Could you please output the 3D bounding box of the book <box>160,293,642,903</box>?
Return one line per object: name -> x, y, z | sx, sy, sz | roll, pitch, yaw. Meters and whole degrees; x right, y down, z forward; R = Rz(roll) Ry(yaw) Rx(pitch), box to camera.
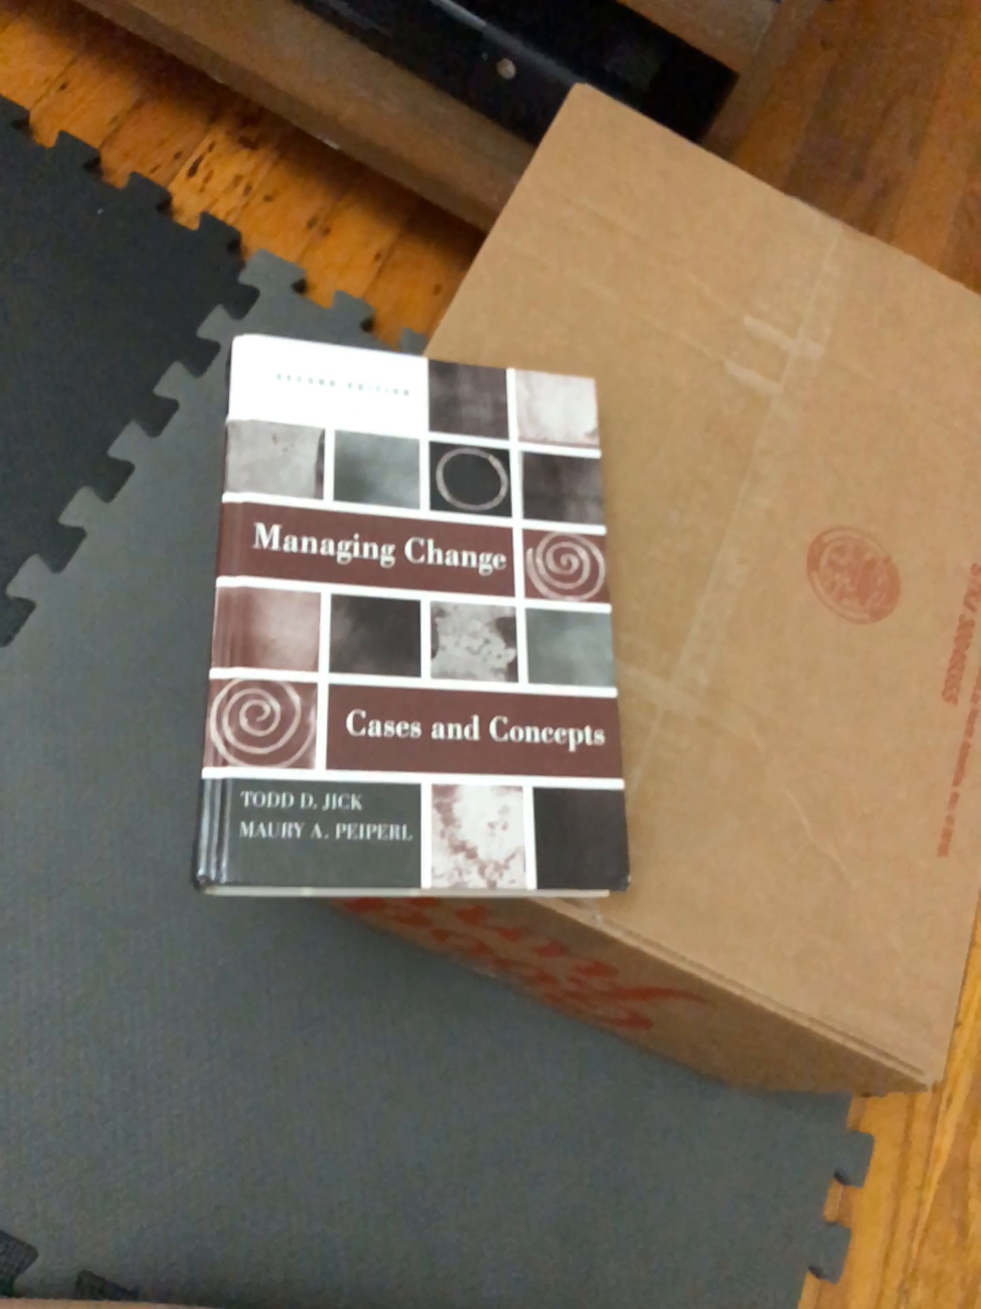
book -> -0.035, -0.025, 0.459 | 0.180, 0.030, 0.251 | 4, 69, -15
